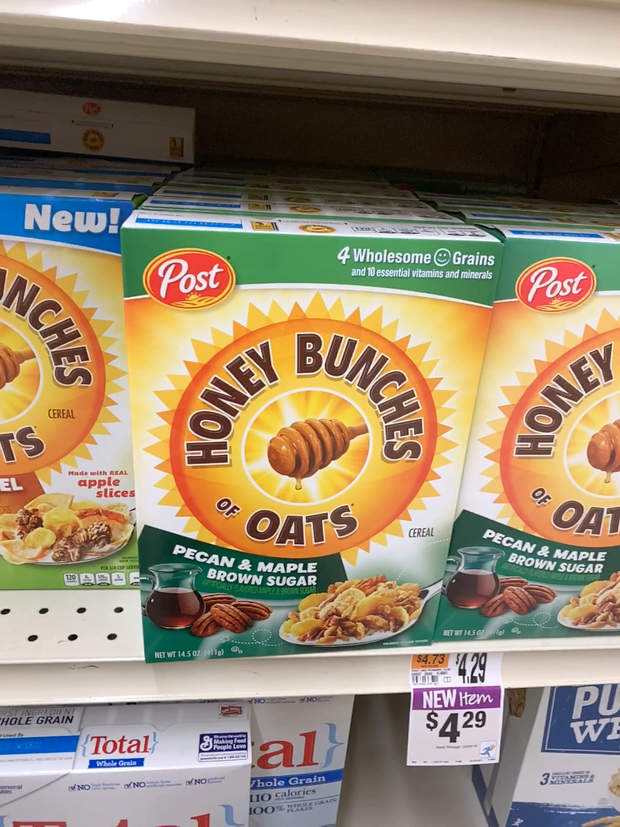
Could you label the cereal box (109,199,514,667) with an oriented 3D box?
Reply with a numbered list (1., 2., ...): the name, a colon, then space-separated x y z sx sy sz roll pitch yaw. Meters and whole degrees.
1. cereal box: -0.008 0.022 0.394 0.200 0.278 0.060 -1 25 -10
